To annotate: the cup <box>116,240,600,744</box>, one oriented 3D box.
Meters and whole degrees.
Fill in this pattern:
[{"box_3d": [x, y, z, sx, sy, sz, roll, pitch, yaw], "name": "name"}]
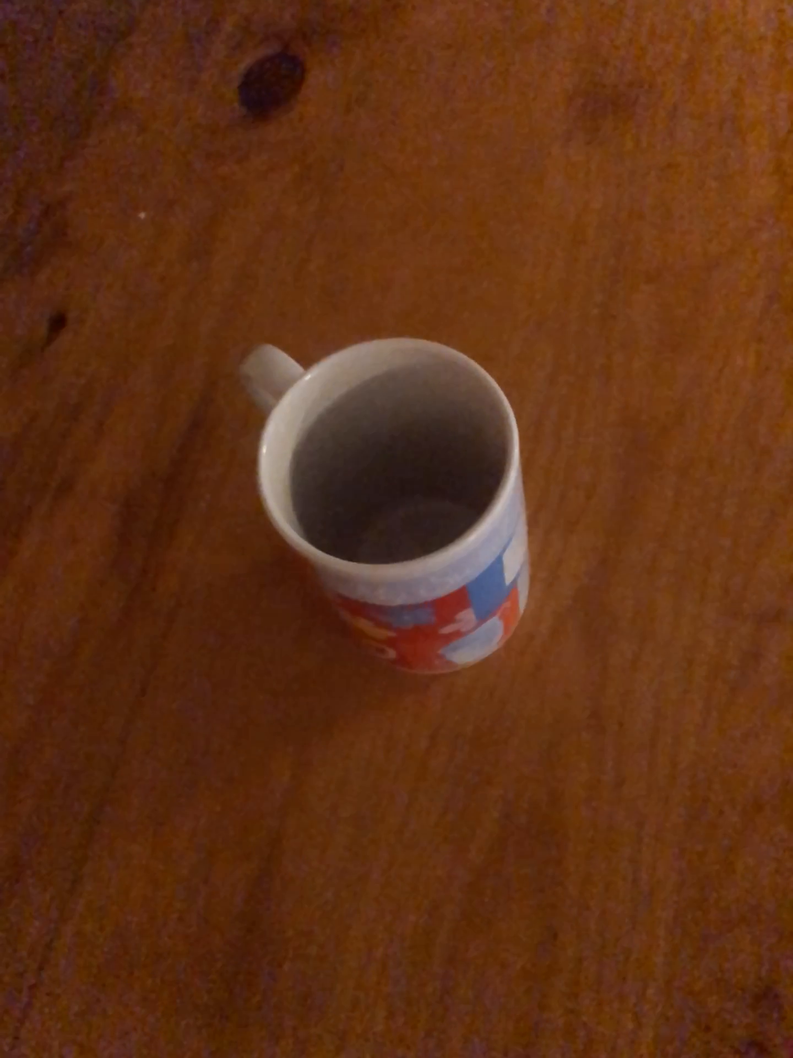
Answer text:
[{"box_3d": [-0.007, -0.008, 0.287, 0.112, 0.099, 0.080, 40, 76, 23], "name": "cup"}]
